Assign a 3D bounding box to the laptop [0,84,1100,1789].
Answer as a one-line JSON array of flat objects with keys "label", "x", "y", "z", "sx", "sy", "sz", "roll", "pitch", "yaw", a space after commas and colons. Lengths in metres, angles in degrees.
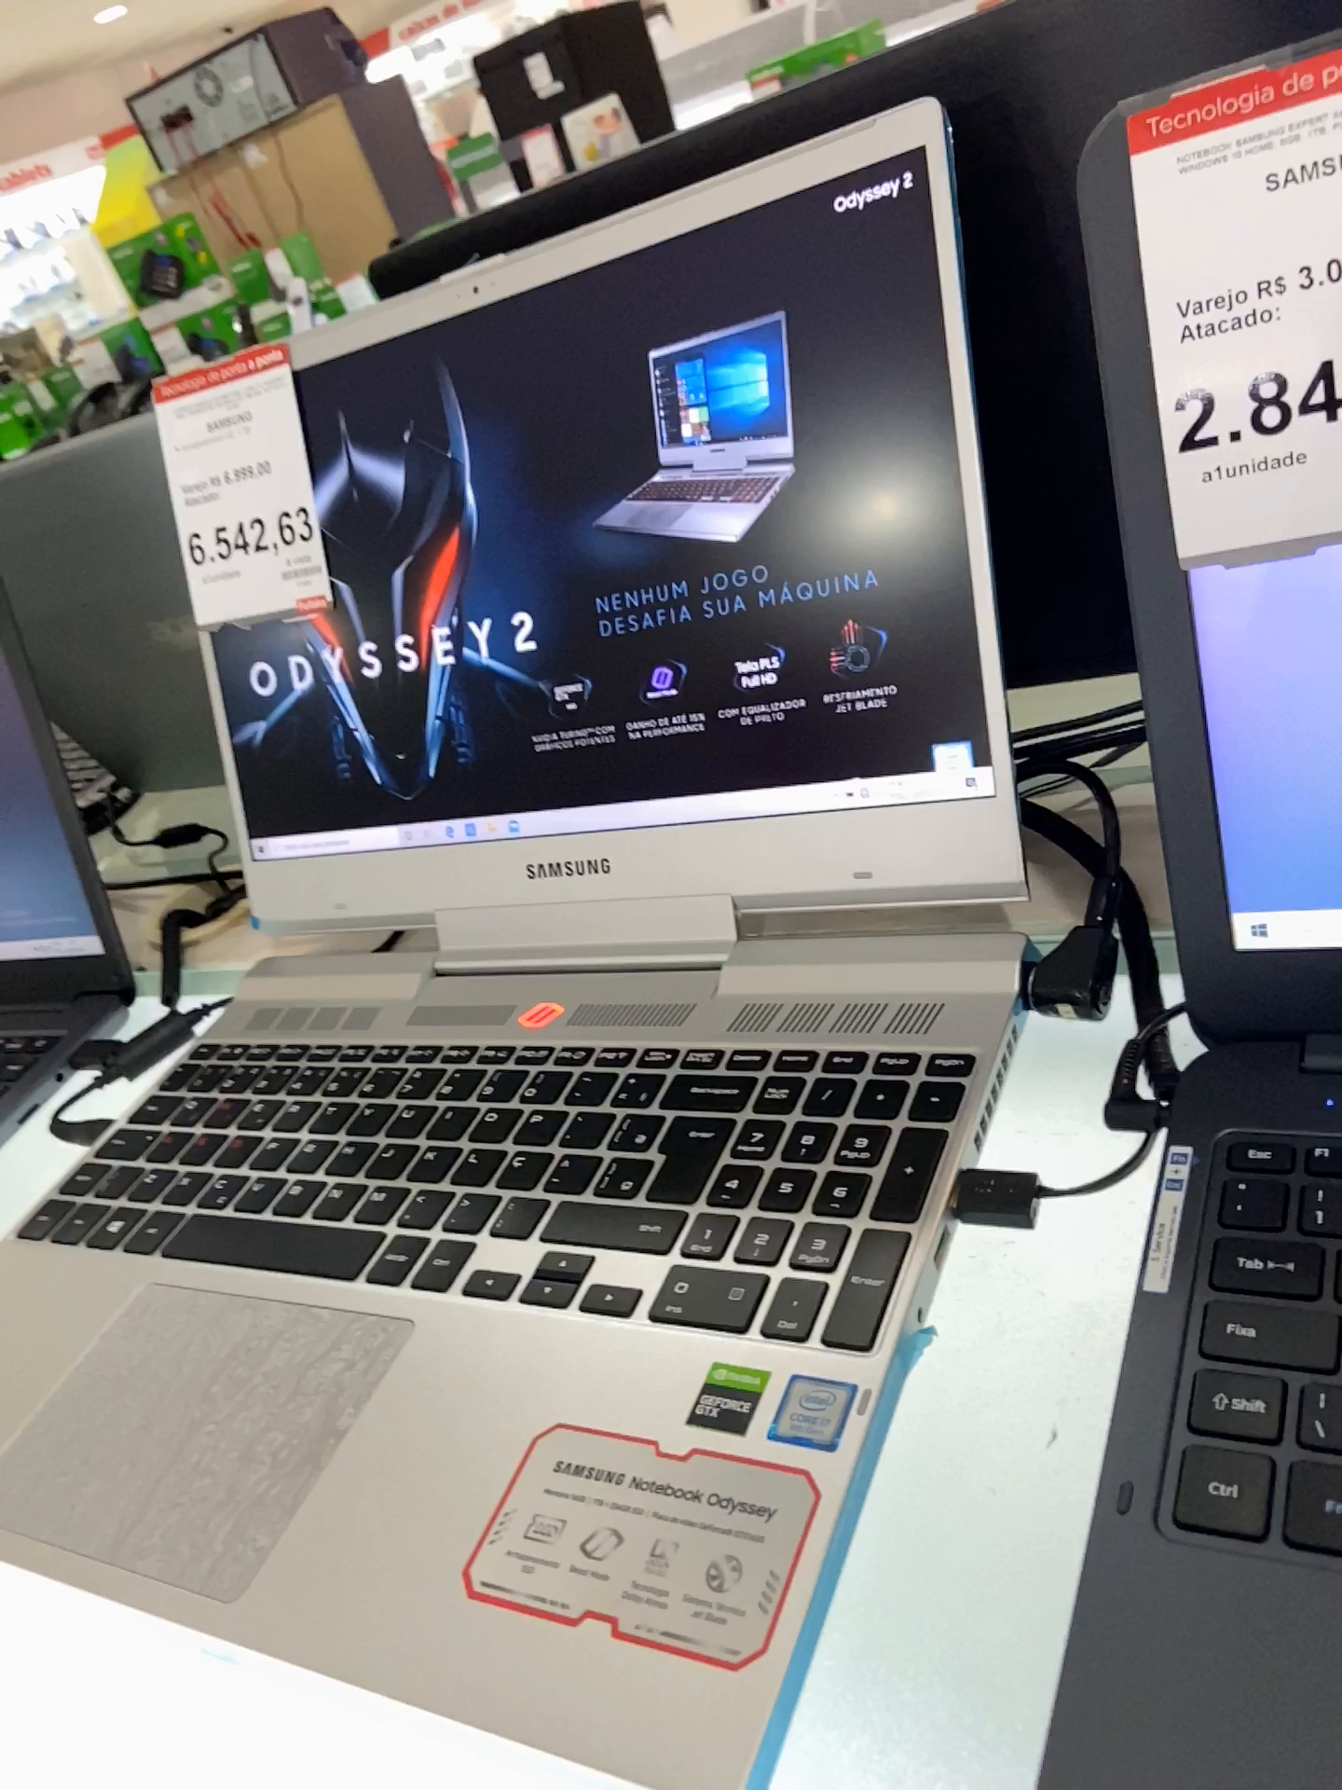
[{"label": "laptop", "x": -0.105, "y": -0.024, "z": 0.420, "sx": 0.353, "sy": 0.225, "sz": 0.370, "roll": -4, "pitch": 35, "yaw": 32}]
